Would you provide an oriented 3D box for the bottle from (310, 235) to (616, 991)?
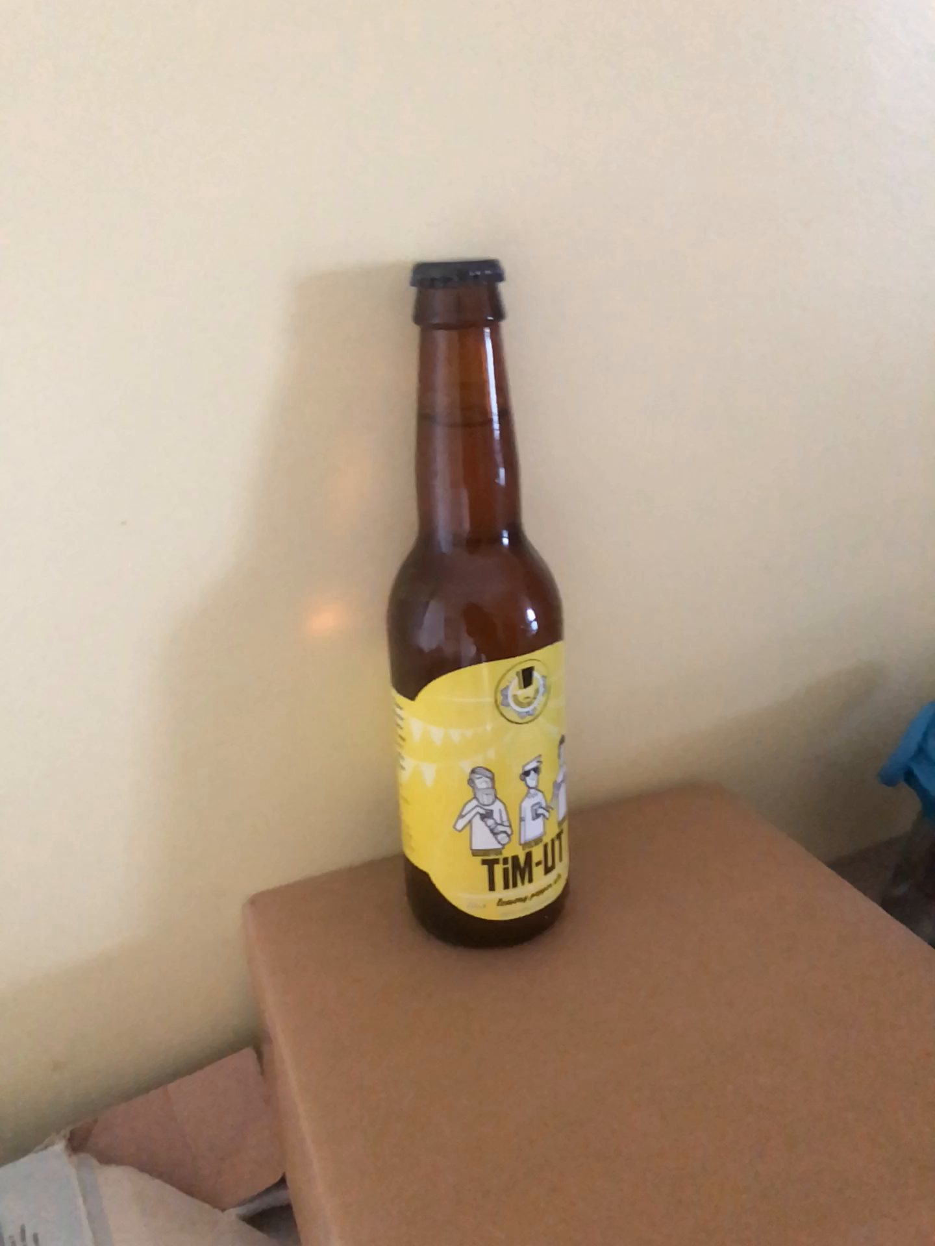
[{"bbox_3d":[0.002,-0.002,0.338,0.060,0.229,0.060,-5,20,2],"label":"bottle"}]
